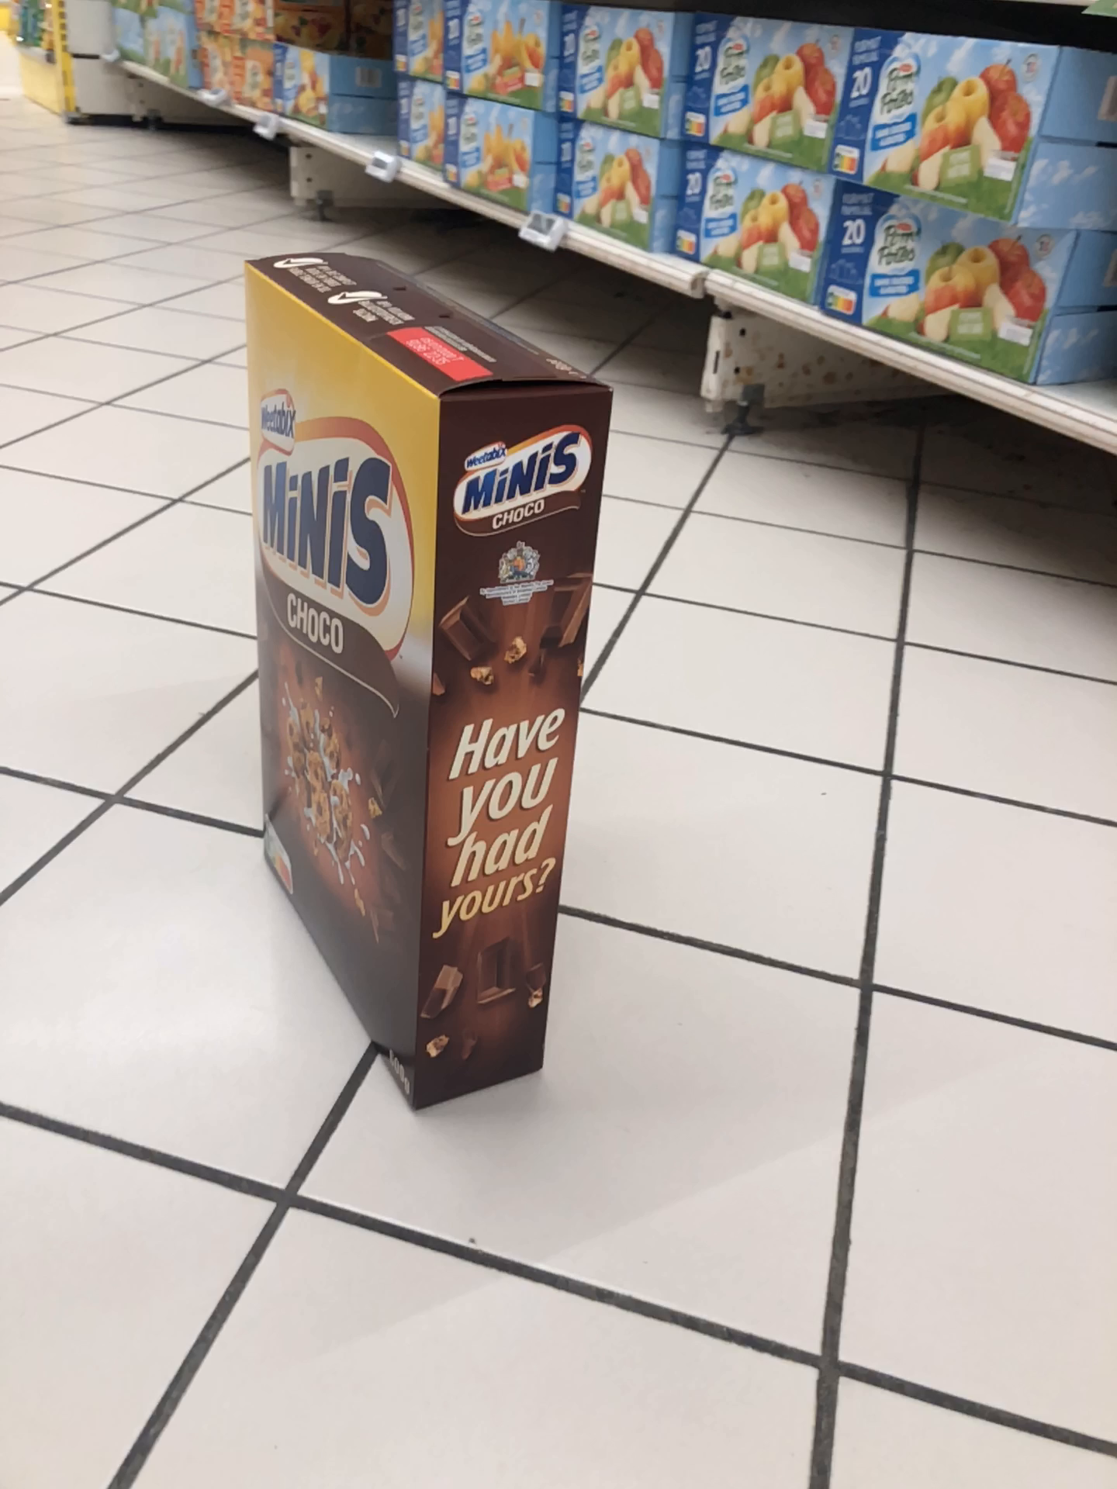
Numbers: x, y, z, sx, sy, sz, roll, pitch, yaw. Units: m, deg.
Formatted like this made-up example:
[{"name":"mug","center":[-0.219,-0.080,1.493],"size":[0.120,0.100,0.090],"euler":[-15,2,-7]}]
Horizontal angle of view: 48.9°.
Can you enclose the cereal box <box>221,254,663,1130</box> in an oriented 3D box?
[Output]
[{"name":"cereal box","center":[-0.063,-0.029,0.502],"size":[0.080,0.288,0.200],"euler":[-11,34,-27]}]
